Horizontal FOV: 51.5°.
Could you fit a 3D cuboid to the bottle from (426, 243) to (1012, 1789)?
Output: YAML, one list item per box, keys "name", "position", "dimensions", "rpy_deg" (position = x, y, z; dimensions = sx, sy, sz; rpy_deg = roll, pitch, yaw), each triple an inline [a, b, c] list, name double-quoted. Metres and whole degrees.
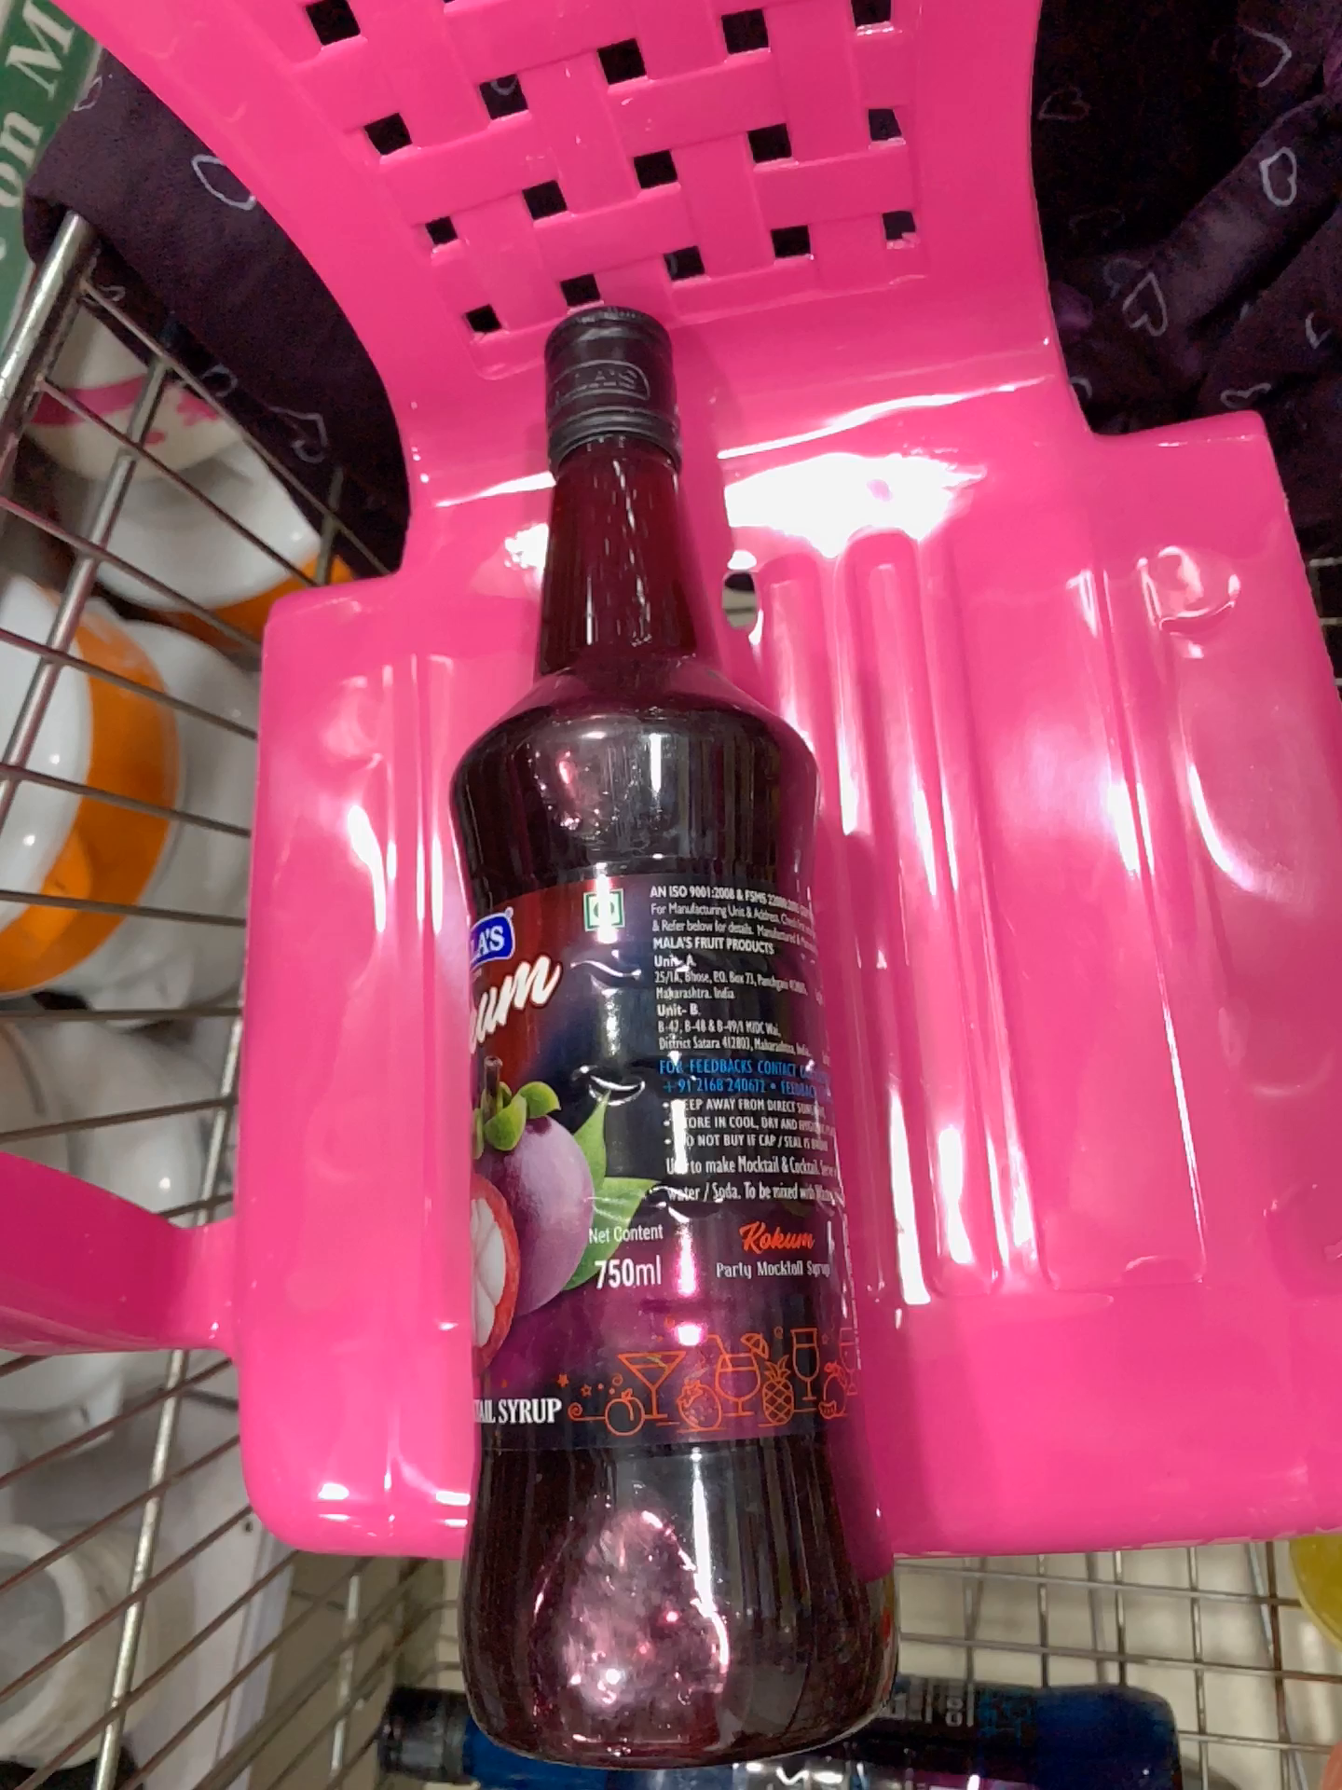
- name: "bottle"
  position: [-0.003, 0.015, 0.274]
  dimensions: [0.080, 0.080, 0.260]
  rpy_deg: [0, 76, -14]
